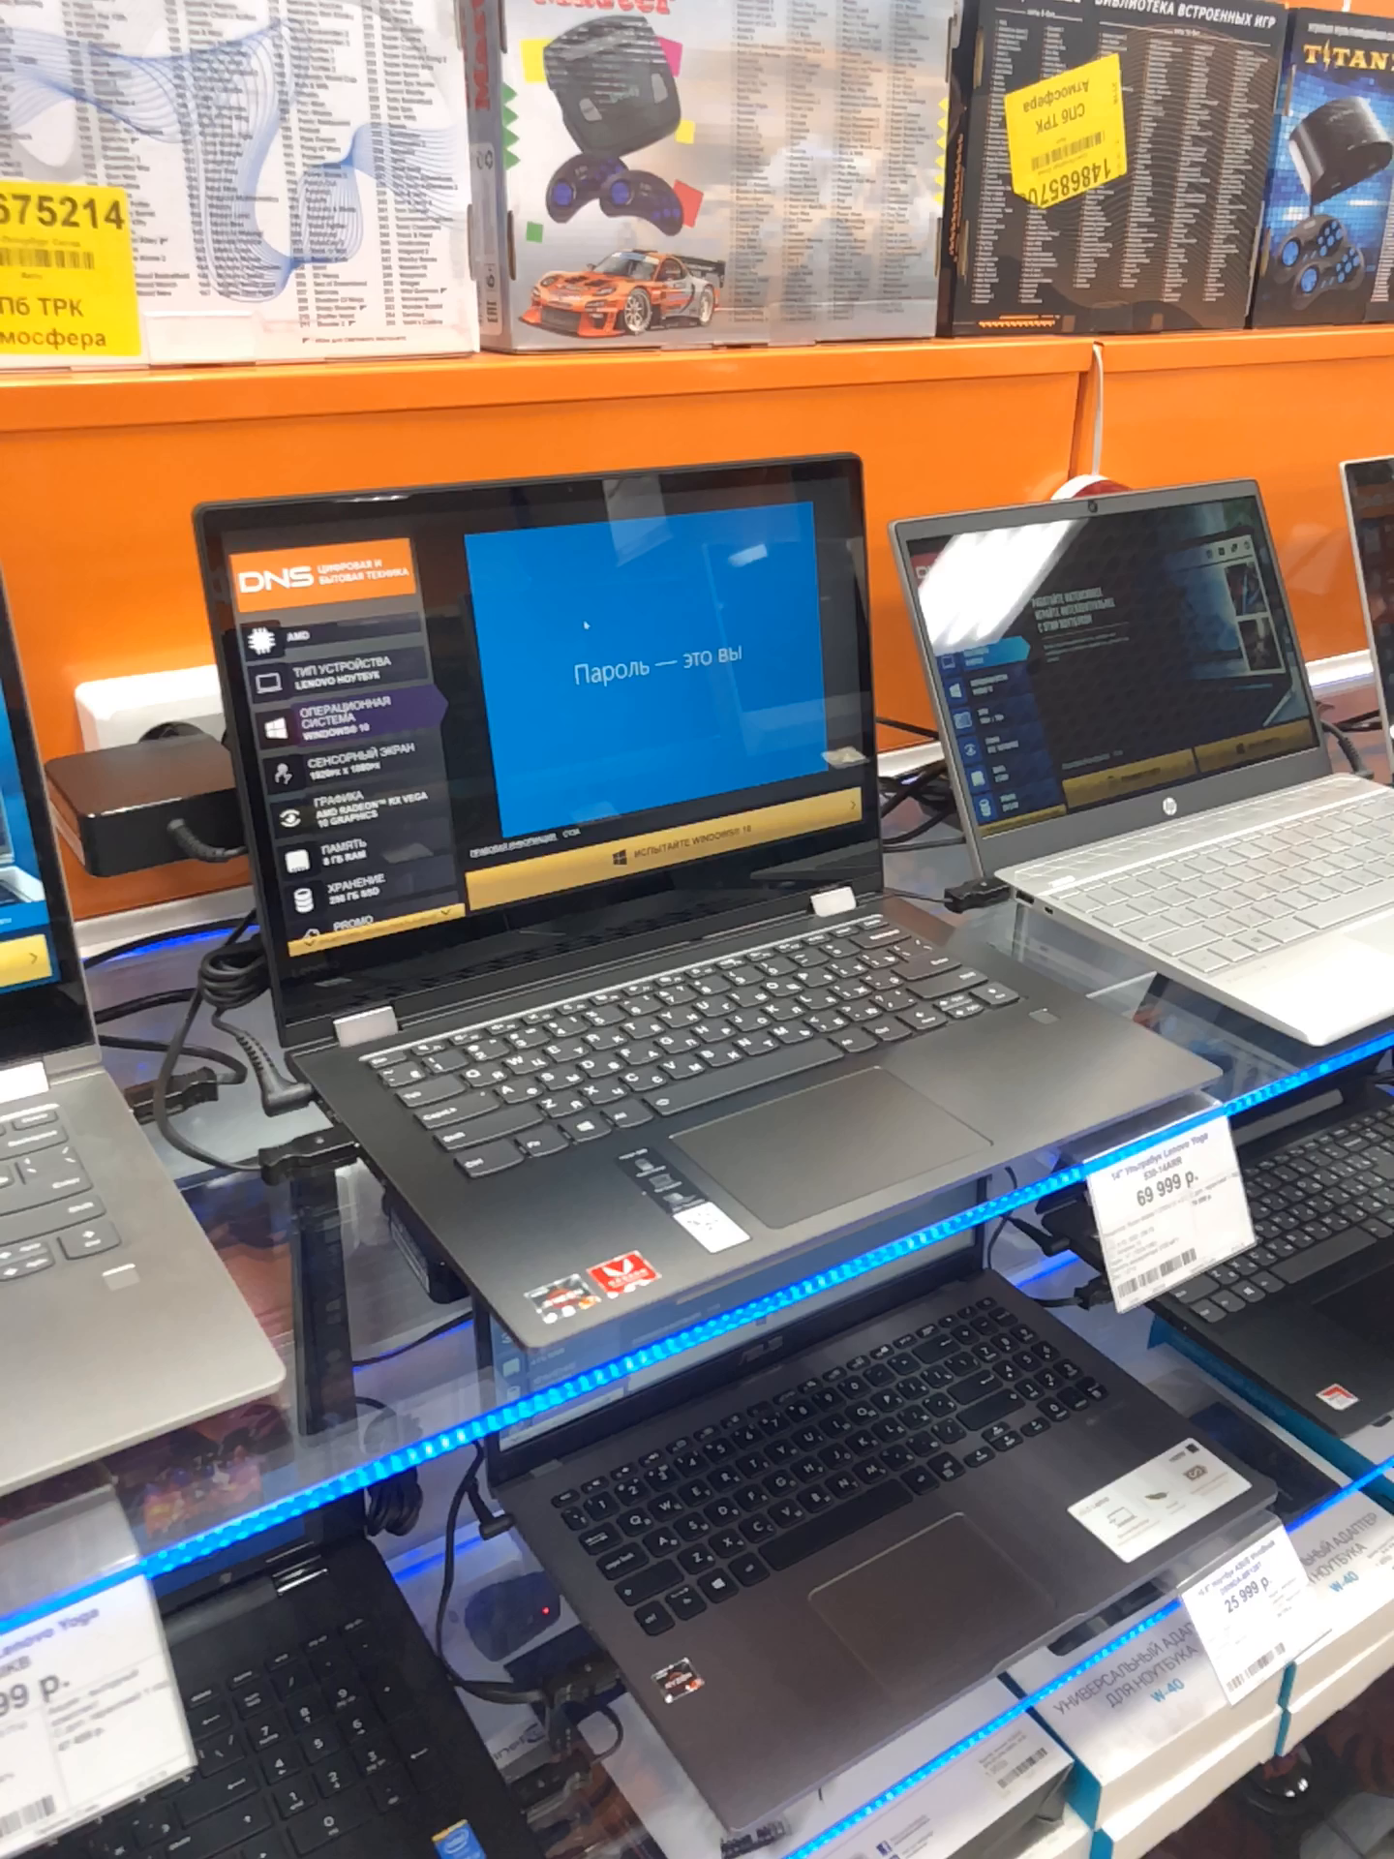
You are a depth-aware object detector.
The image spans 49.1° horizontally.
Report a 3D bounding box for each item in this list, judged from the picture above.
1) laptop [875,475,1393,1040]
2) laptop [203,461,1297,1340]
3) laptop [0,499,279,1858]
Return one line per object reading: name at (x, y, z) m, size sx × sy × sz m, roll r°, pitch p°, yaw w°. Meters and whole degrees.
laptop at (0.319, -0.125, 0.836) m, size 0.316 × 0.161 × 0.310 m, roll -15°, pitch 31°, yaw -30°
laptop at (0.013, -0.051, 0.611) m, size 0.320 × 0.215 × 0.256 m, roll -15°, pitch 29°, yaw -31°
laptop at (-0.326, 0.013, 0.432) m, size 0.284 × 0.202 × 0.286 m, roll -14°, pitch 31°, yaw -36°
